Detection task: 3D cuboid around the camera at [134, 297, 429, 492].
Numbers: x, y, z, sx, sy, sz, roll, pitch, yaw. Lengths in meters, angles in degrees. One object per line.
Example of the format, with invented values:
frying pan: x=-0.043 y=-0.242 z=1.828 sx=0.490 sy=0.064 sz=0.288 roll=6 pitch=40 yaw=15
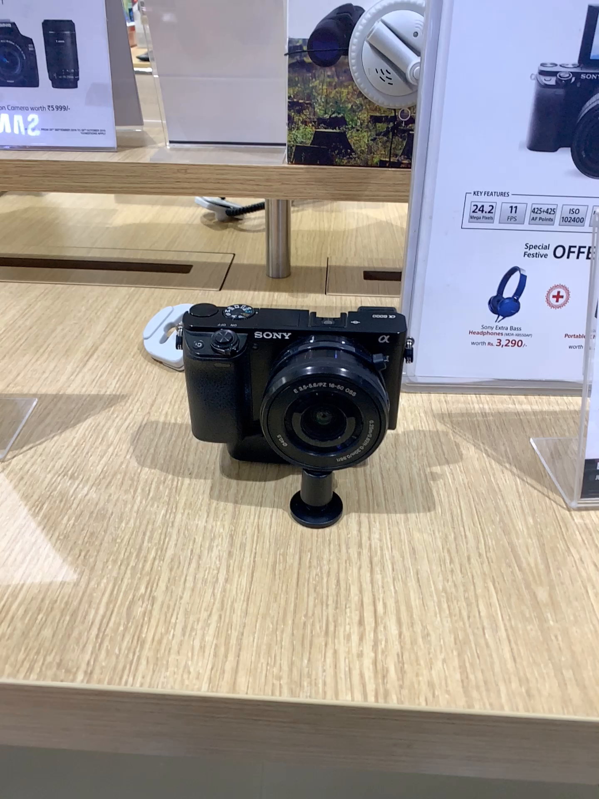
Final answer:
camera: x=-0.007 y=-0.005 z=0.319 sx=0.130 sy=0.070 sz=0.070 roll=2 pitch=34 yaw=2
